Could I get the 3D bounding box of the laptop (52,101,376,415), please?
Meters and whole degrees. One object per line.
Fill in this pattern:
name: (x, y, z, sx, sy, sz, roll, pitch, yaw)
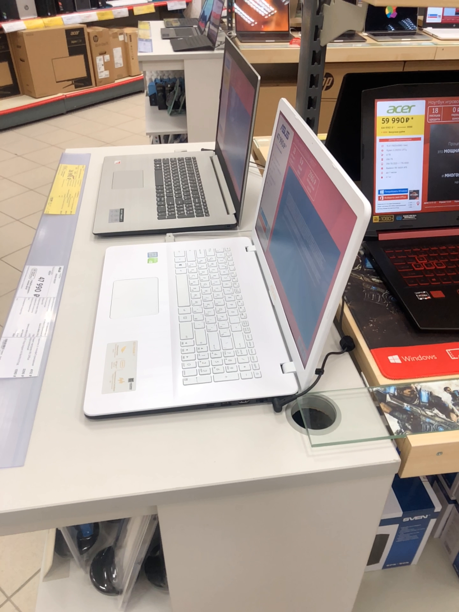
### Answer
laptop: (-0.028, -0.097, 0.687, 0.300, 0.235, 0.388, -5, 36, -4)
